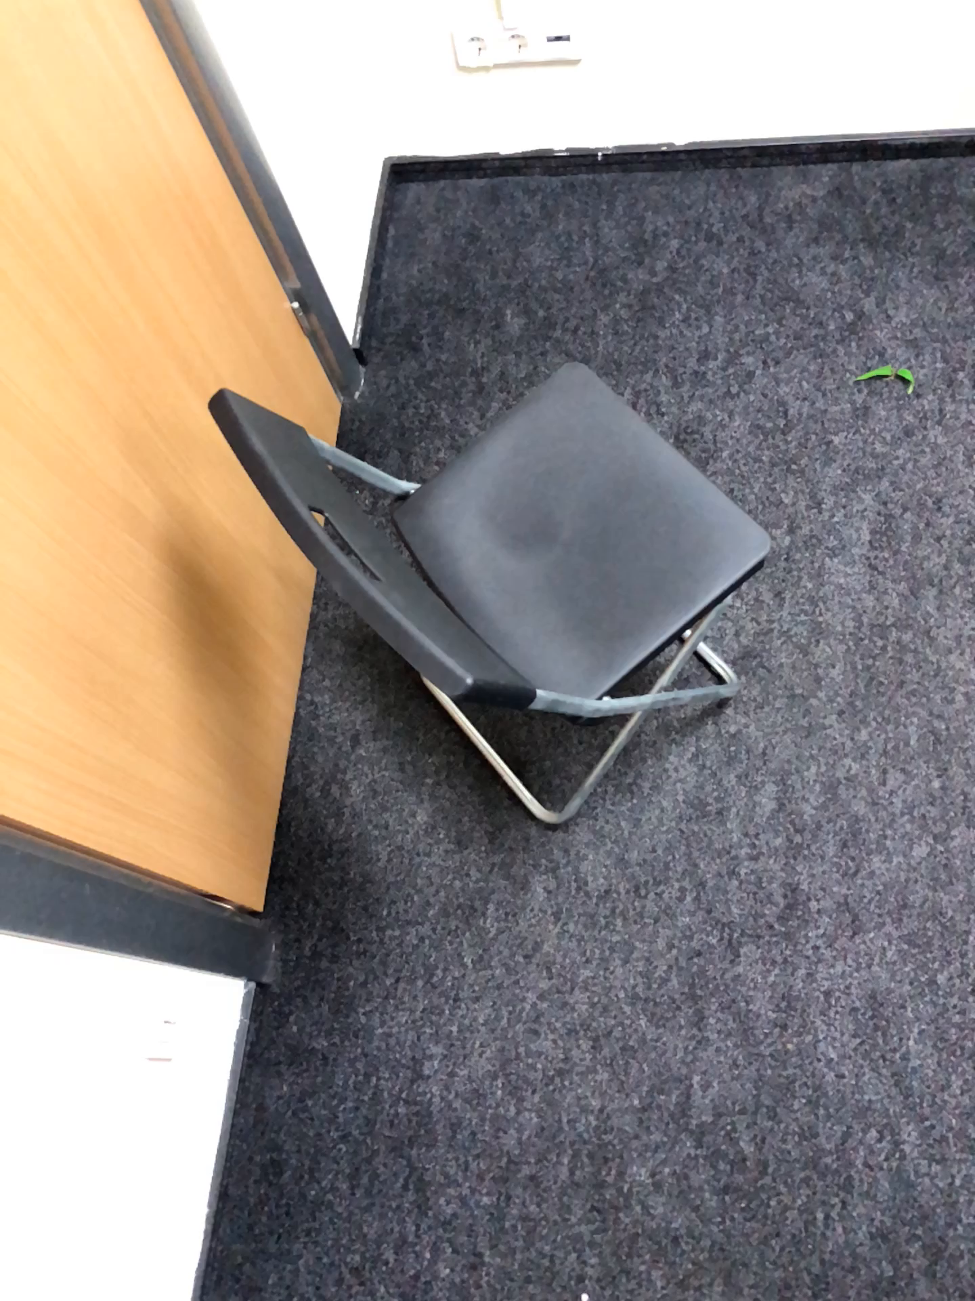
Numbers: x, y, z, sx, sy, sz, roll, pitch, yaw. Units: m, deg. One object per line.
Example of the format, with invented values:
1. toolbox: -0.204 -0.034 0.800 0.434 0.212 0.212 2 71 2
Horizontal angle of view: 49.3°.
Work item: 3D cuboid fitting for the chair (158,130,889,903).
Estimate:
1. chair: 0.069 -0.088 1.308 0.480 0.728 0.481 -39 67 -7
